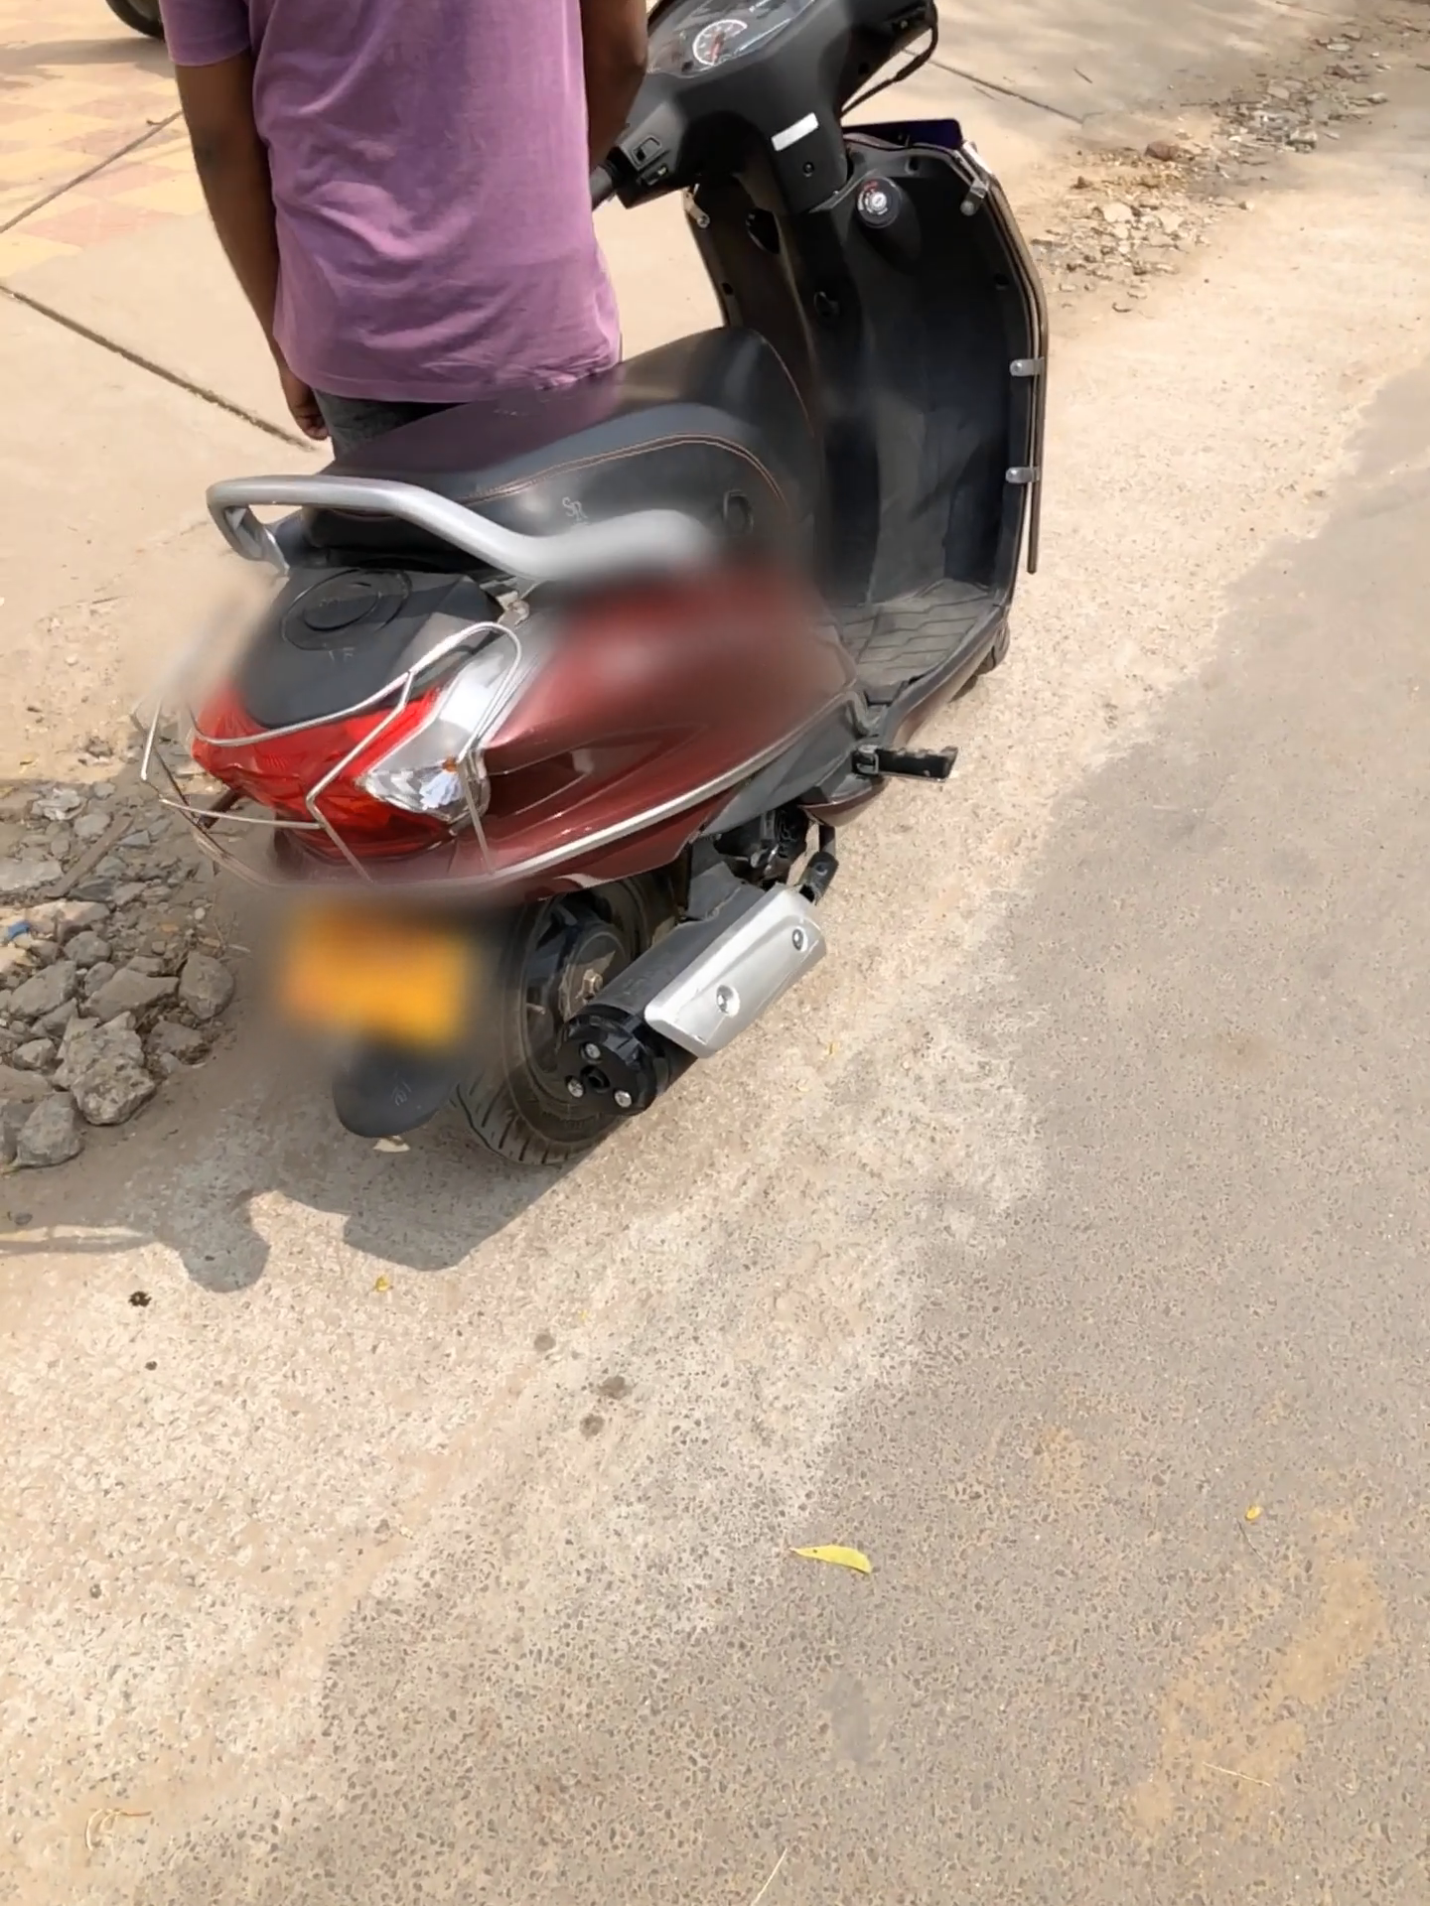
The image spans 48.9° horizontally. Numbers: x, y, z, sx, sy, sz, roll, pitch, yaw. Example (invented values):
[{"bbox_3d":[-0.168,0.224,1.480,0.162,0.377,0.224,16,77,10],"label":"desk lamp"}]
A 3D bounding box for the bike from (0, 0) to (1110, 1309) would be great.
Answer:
[{"bbox_3d":[-0.059,-0.617,2.057,0.674,1.125,1.626,14,43,18],"label":"bike"}]
